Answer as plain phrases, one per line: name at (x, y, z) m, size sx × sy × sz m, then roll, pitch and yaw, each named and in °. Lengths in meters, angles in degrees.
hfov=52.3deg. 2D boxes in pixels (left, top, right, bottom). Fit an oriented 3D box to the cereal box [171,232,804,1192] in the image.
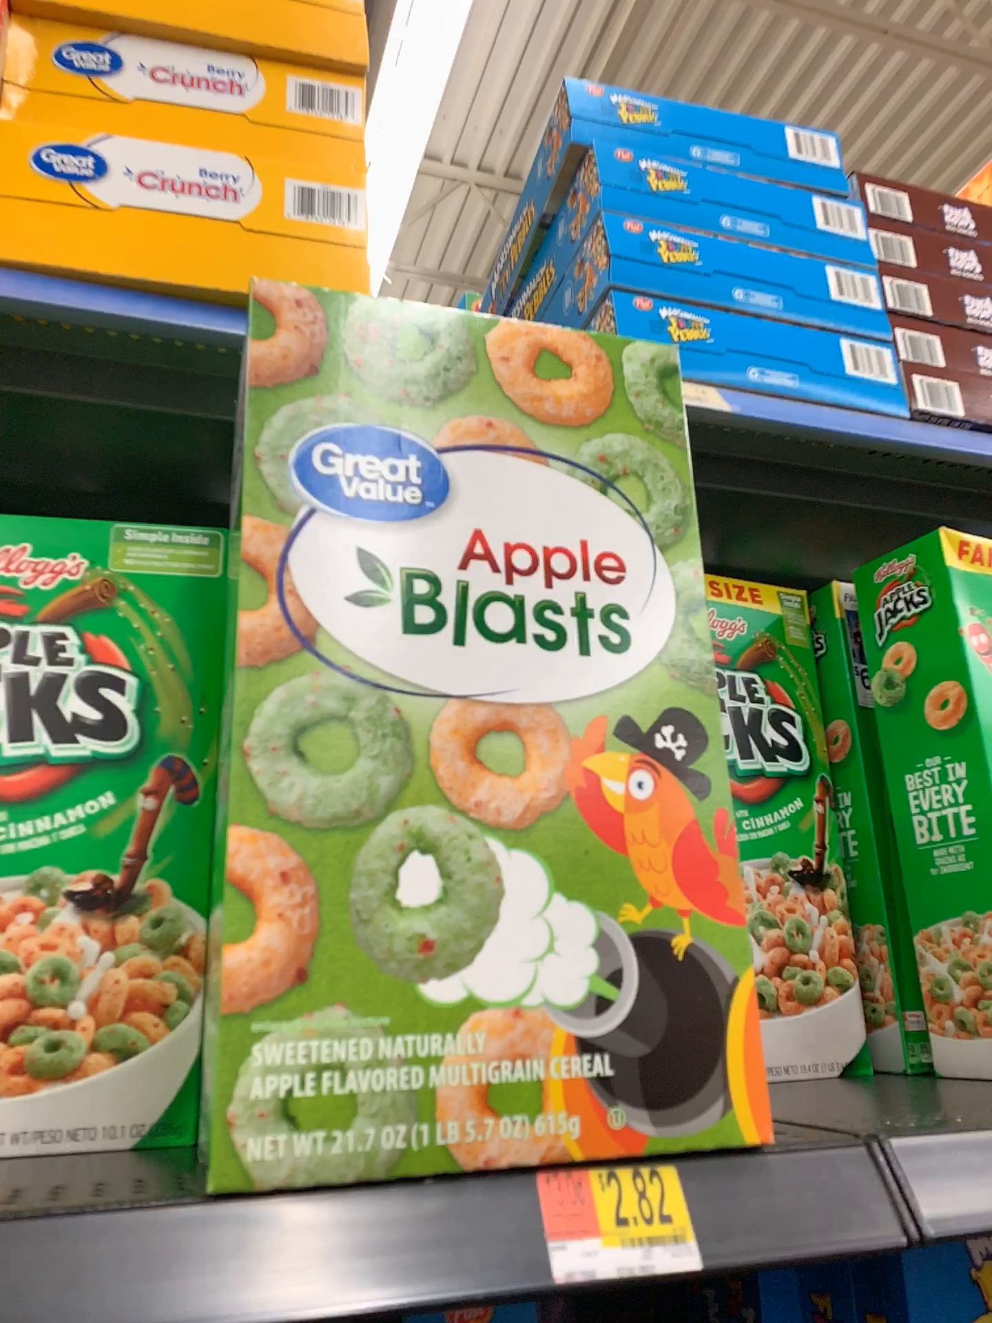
cereal box at (-0.013, 0.013, 0.409) m, size 0.200 × 0.332 × 0.100 m, roll 4°, pitch -21°, yaw -18°
